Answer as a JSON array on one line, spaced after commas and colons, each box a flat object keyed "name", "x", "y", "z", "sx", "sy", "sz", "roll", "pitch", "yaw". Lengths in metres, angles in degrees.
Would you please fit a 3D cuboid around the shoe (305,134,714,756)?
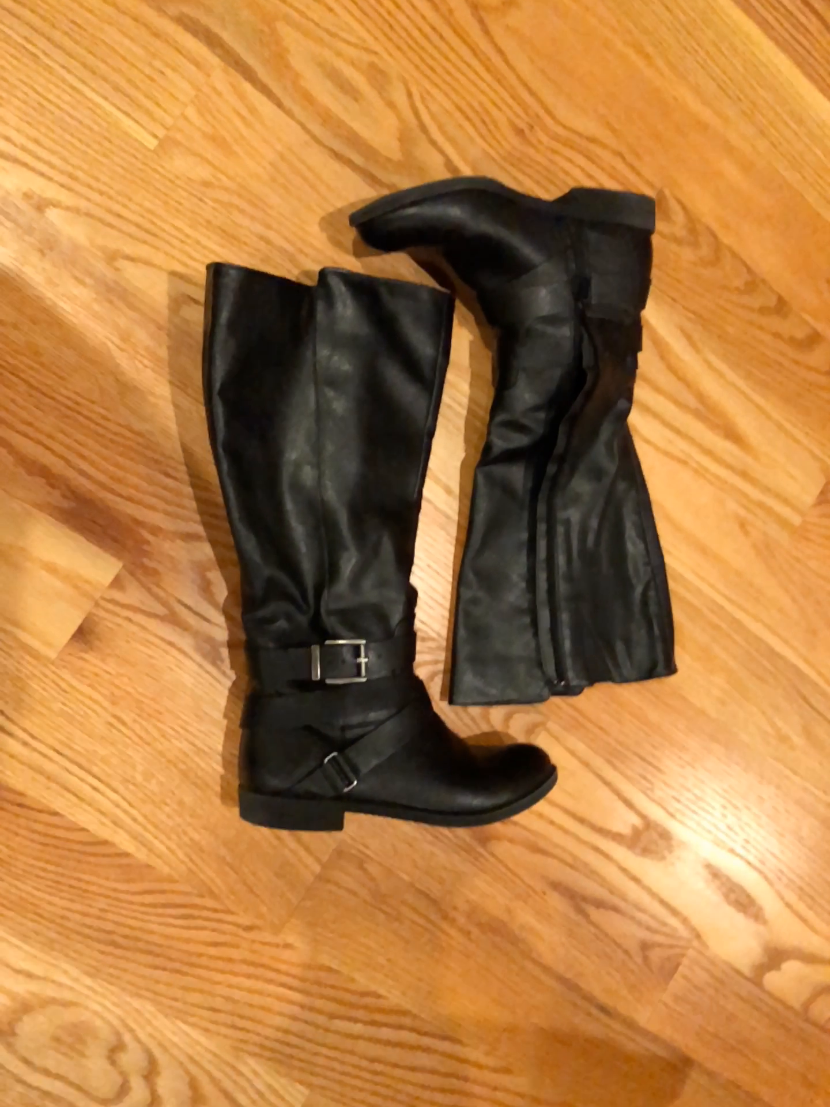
[{"name": "shoe", "x": 0.066, "y": -0.061, "z": 0.657, "sx": 0.250, "sy": 0.094, "sz": 0.393, "roll": 4, "pitch": 90, "yaw": -17}]

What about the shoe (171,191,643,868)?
[{"name": "shoe", "x": -0.009, "y": -0.008, "z": 0.636, "sx": 0.290, "sy": 0.104, "sz": 0.403, "roll": 3, "pitch": 92, "yaw": -17}]
